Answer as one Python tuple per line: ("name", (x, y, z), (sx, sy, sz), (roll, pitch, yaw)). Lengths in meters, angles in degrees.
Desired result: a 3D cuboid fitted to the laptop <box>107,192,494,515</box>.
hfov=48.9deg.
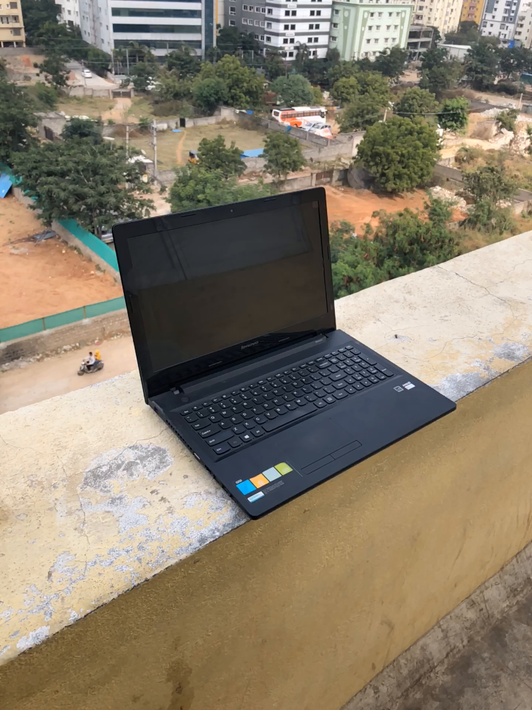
("laptop", (0.037, -0.042, 0.806), (0.367, 0.229, 0.330), (-20, 40, -34))
